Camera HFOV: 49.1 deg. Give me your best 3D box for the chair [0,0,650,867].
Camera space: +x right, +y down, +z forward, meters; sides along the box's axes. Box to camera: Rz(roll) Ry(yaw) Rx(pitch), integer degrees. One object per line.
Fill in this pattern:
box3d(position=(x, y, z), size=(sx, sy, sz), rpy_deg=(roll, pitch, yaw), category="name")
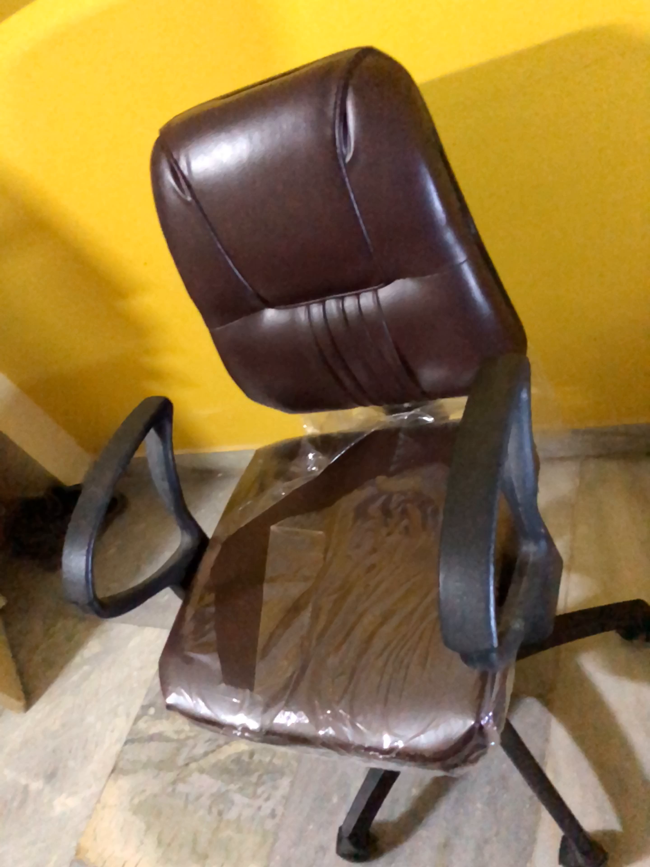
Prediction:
box3d(position=(0.031, 0.112, 0.932), size=(0.690, 0.975, 0.683), rpy_deg=(-8, 46, 31), category="chair")
